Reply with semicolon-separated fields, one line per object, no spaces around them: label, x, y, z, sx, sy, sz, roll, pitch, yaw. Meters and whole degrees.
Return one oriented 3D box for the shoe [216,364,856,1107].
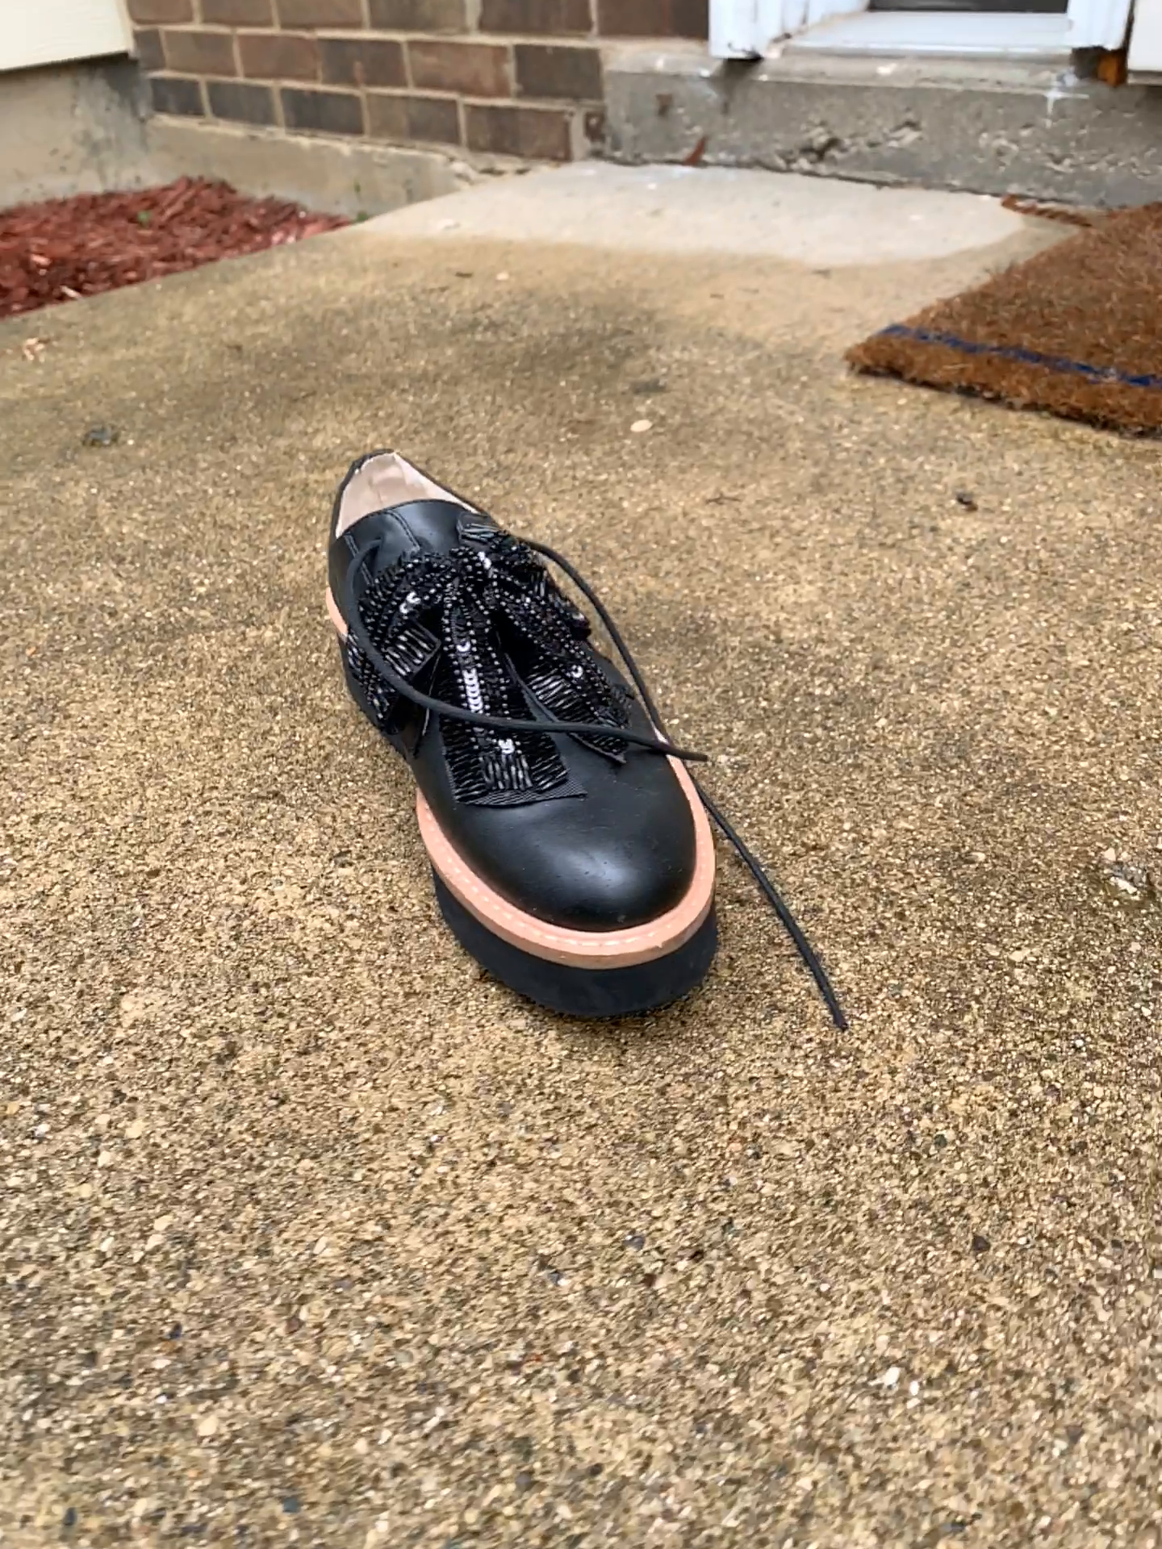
shoe;-0.032;-0.037;0.416;0.106;0.120;0.259;-19;39;-19
